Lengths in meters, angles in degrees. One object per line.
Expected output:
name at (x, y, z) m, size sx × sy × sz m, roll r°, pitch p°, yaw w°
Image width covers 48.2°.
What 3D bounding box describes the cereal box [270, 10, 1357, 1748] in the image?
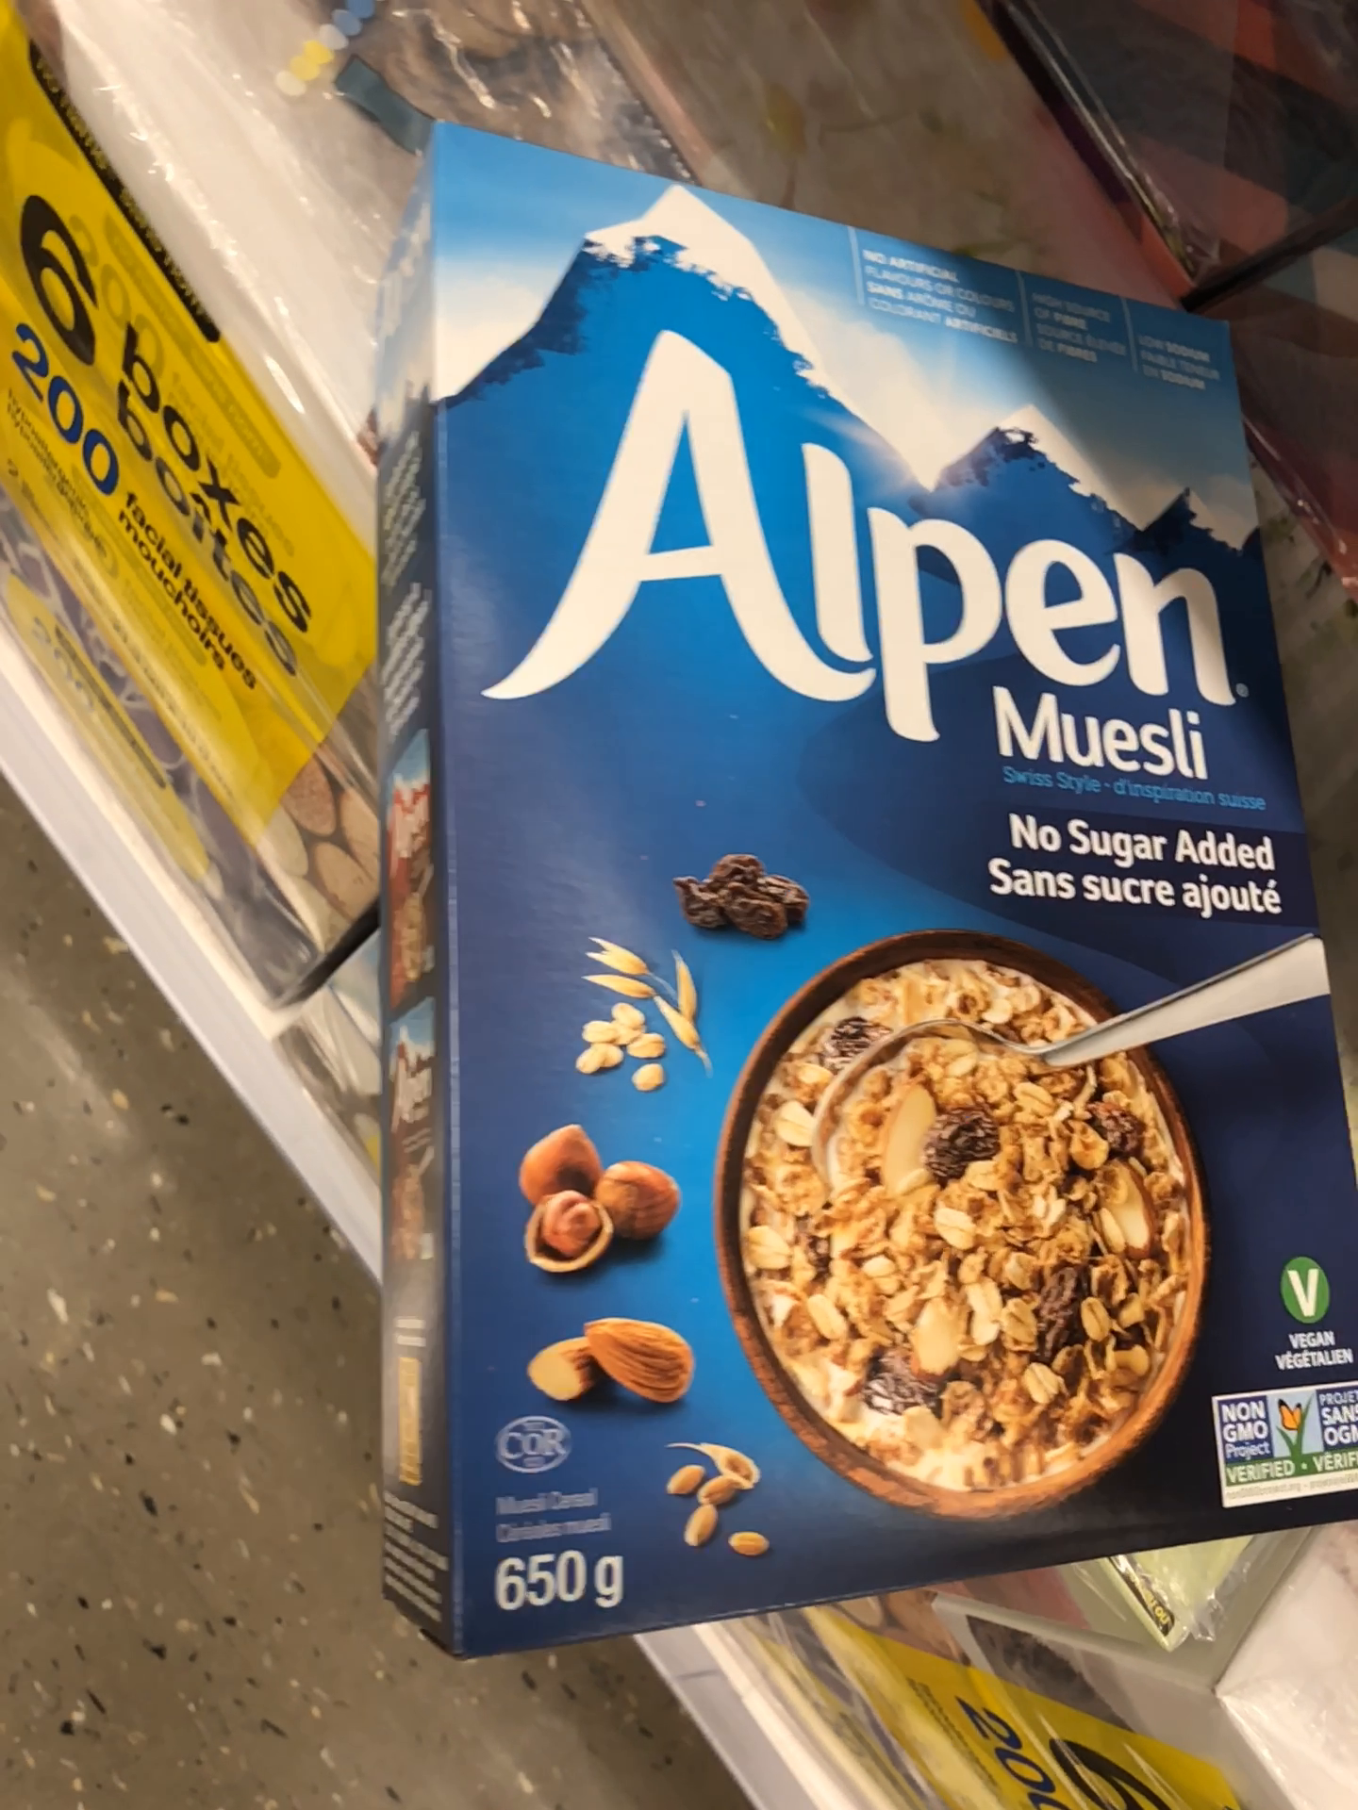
cereal box at (0.034, -0.010, 0.274) m, size 0.201 × 0.050 × 0.250 m, roll 3°, pitch 76°, yaw -24°
